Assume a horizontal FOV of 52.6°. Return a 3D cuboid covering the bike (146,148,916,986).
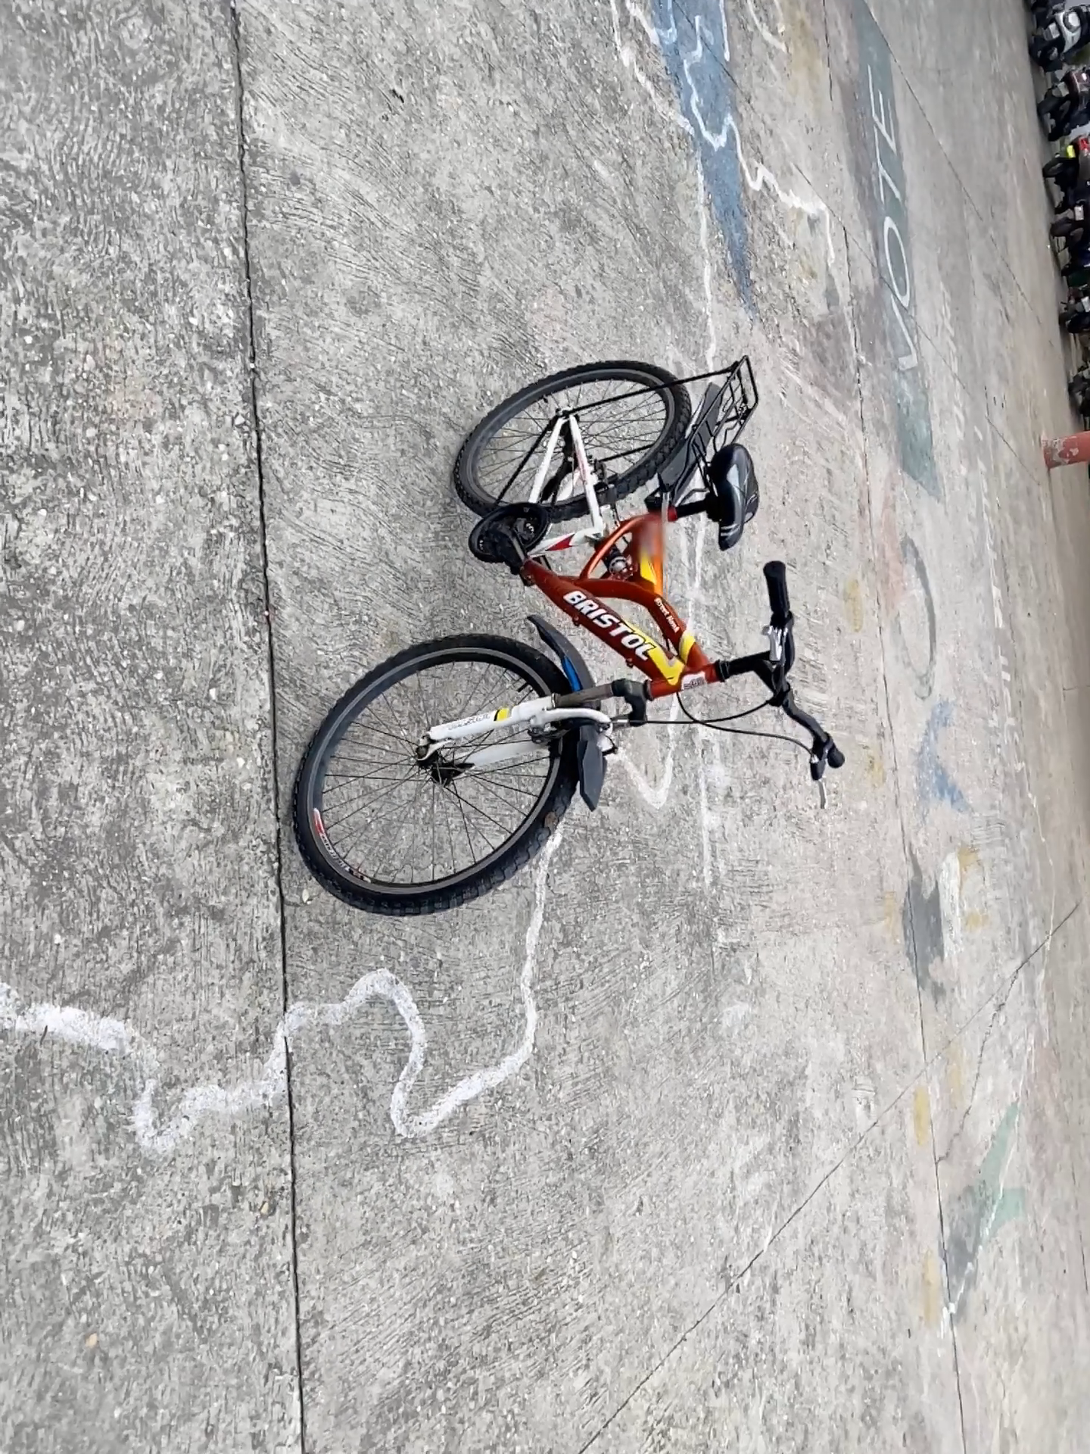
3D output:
[{"bbox_3d":[0.098,-0.308,2.182,0.586,0.976,1.515,51,44,-41],"label":"bike"}]
